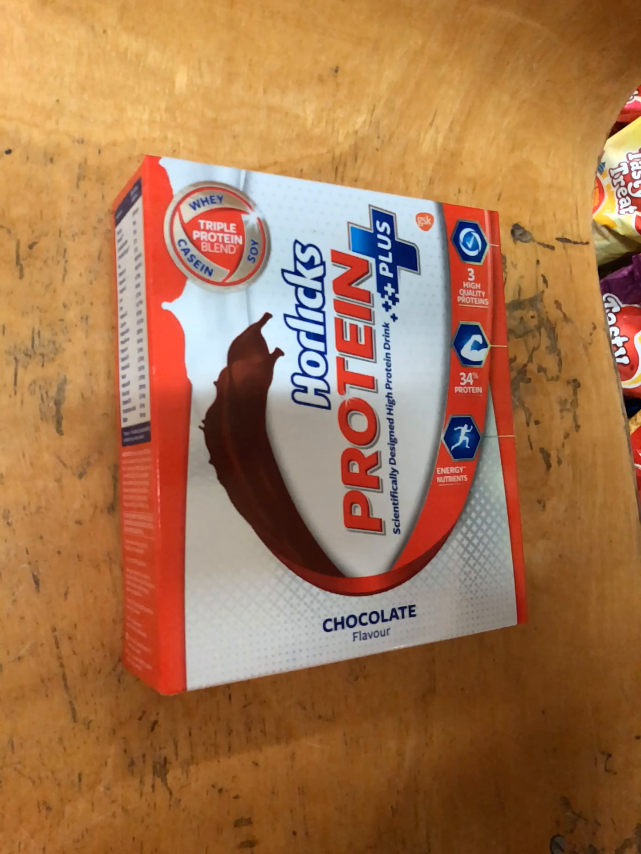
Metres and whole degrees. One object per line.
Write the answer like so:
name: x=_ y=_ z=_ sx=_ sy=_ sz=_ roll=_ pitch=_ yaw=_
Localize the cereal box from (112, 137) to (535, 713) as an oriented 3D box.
cereal box: x=0.005 y=-0.002 z=0.255 sx=0.140 sy=0.050 sz=0.160 roll=-1 pitch=88 yaw=-31
